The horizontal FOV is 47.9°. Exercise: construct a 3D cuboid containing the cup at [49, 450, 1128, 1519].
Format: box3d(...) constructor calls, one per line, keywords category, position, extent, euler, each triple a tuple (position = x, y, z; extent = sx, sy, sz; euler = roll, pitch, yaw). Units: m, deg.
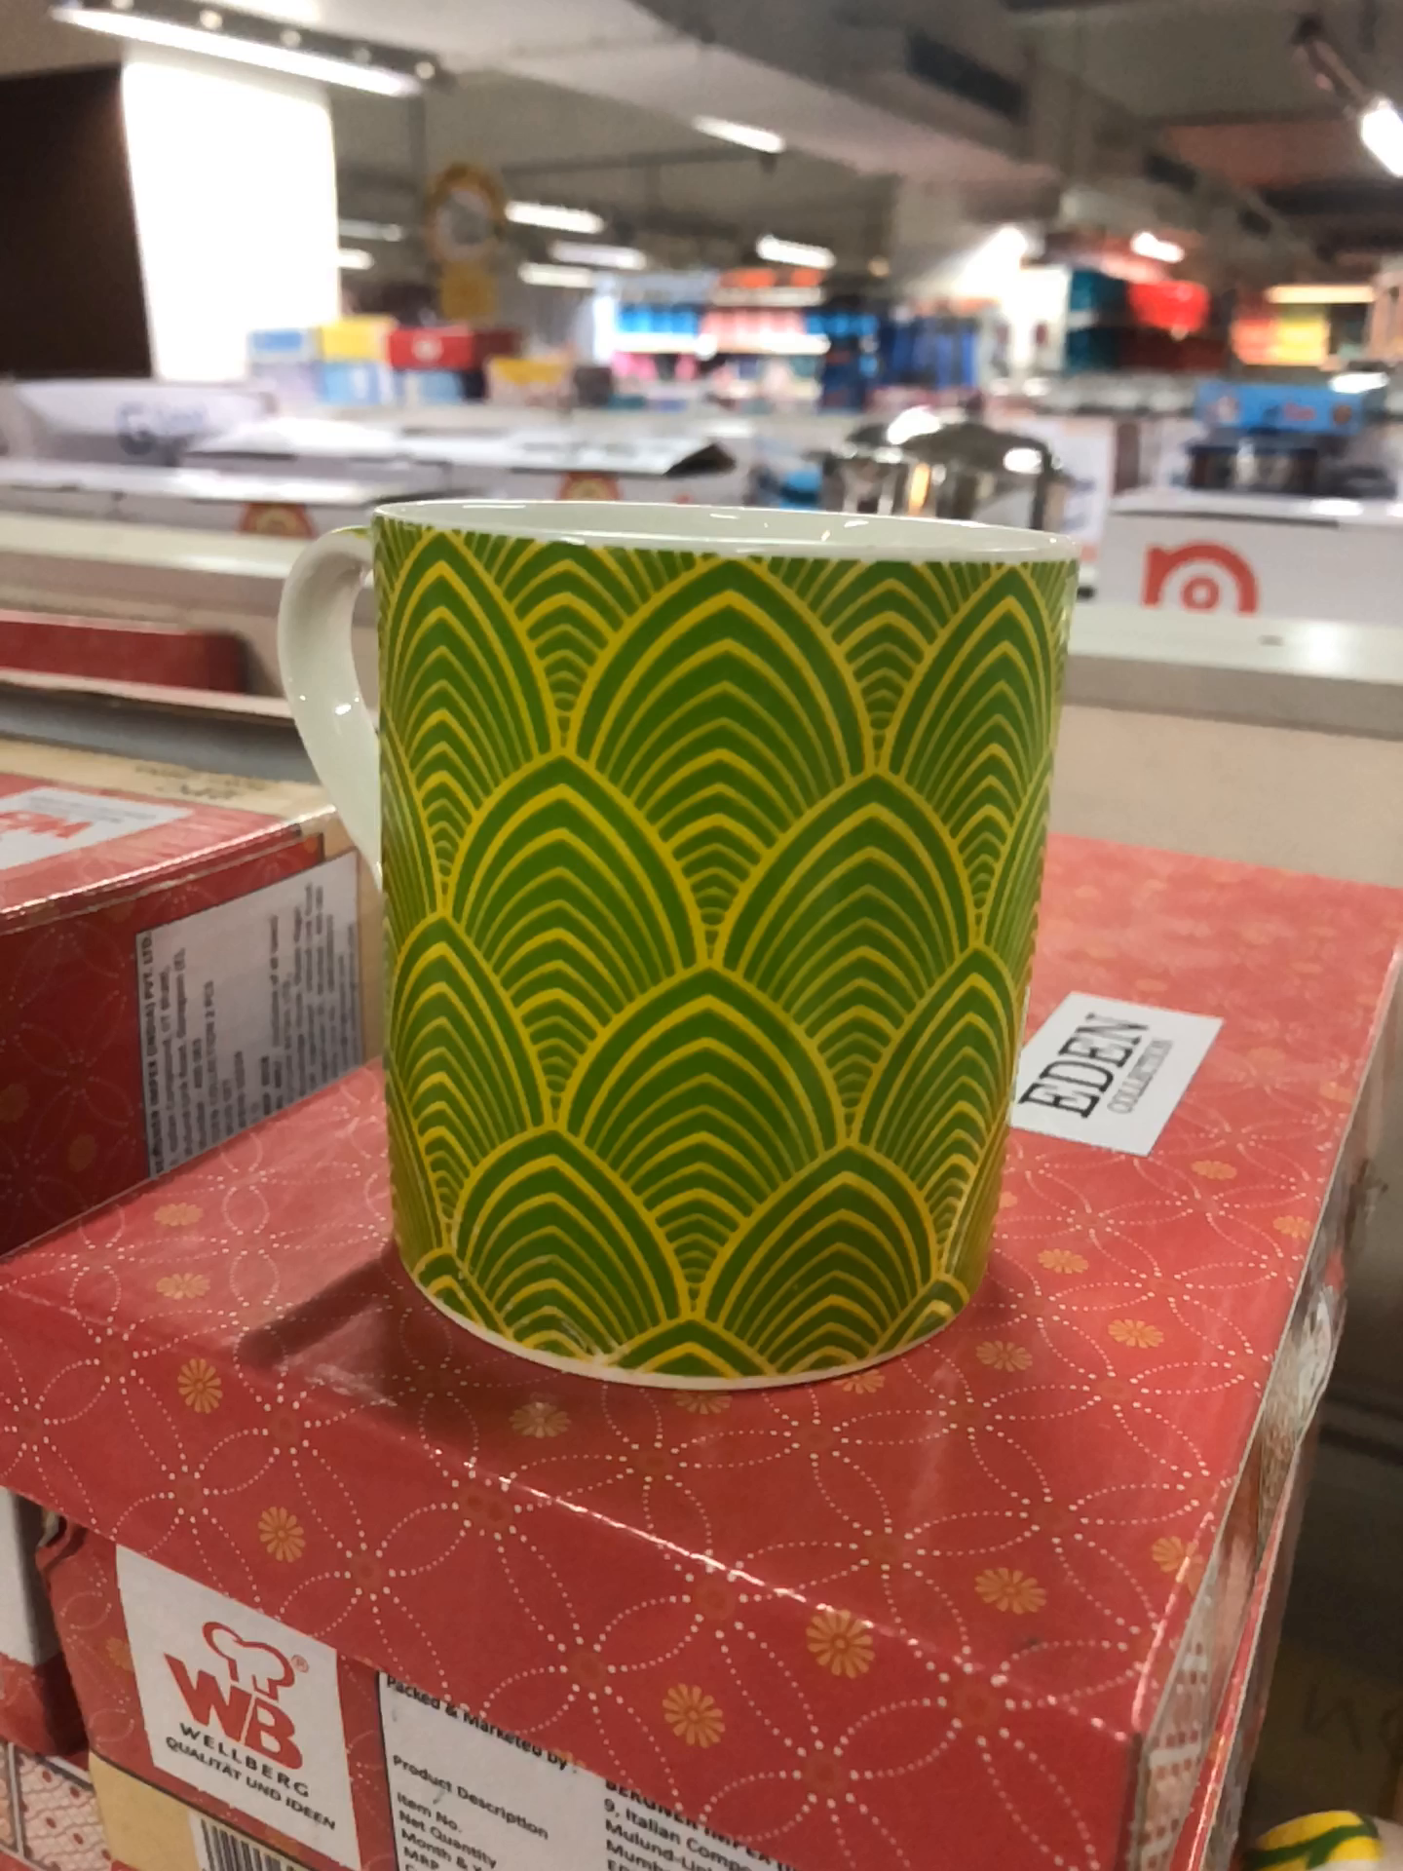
box3d(category="cup", position=(-0.011, -0.007, 0.181), extent=(0.090, 0.090, 0.070), euler=(12, 20, 28))
